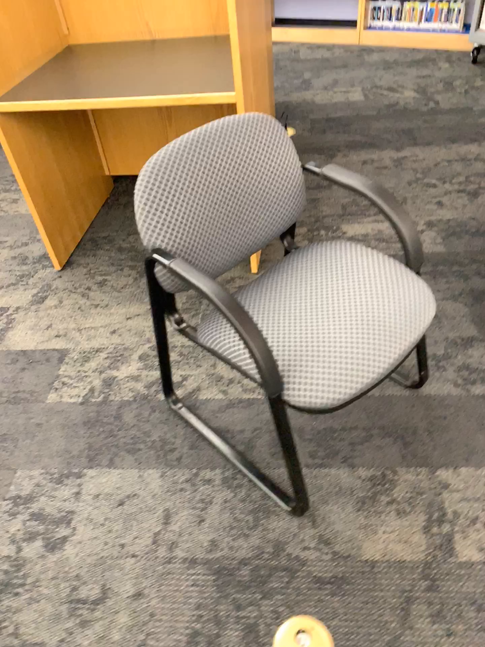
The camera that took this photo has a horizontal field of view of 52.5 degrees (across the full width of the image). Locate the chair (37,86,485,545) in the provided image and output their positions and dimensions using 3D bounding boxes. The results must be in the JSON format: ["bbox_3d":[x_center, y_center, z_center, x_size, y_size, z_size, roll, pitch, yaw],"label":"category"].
[{"bbox_3d":[0.089,-0.087,1.280,0.731,0.677,0.722,-36,50,-28],"label":"chair"}]
